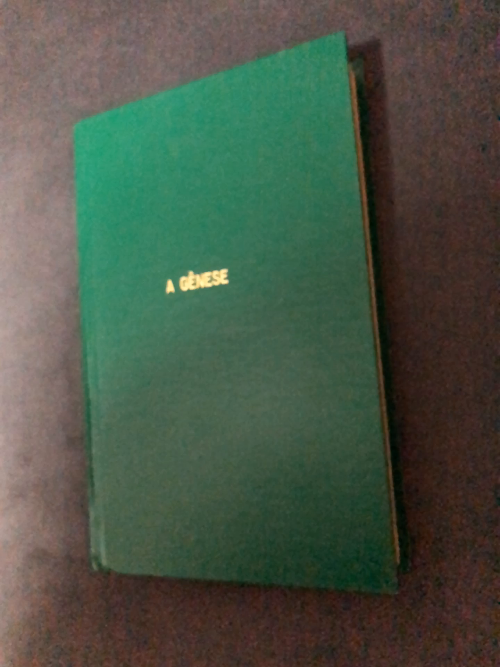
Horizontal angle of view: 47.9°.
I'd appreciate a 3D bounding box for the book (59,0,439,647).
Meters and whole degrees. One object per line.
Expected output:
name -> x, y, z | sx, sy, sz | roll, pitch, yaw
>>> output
book -> -0.010, -0.004, 0.253 | 0.150, 0.040, 0.240 | -7, 83, 25
